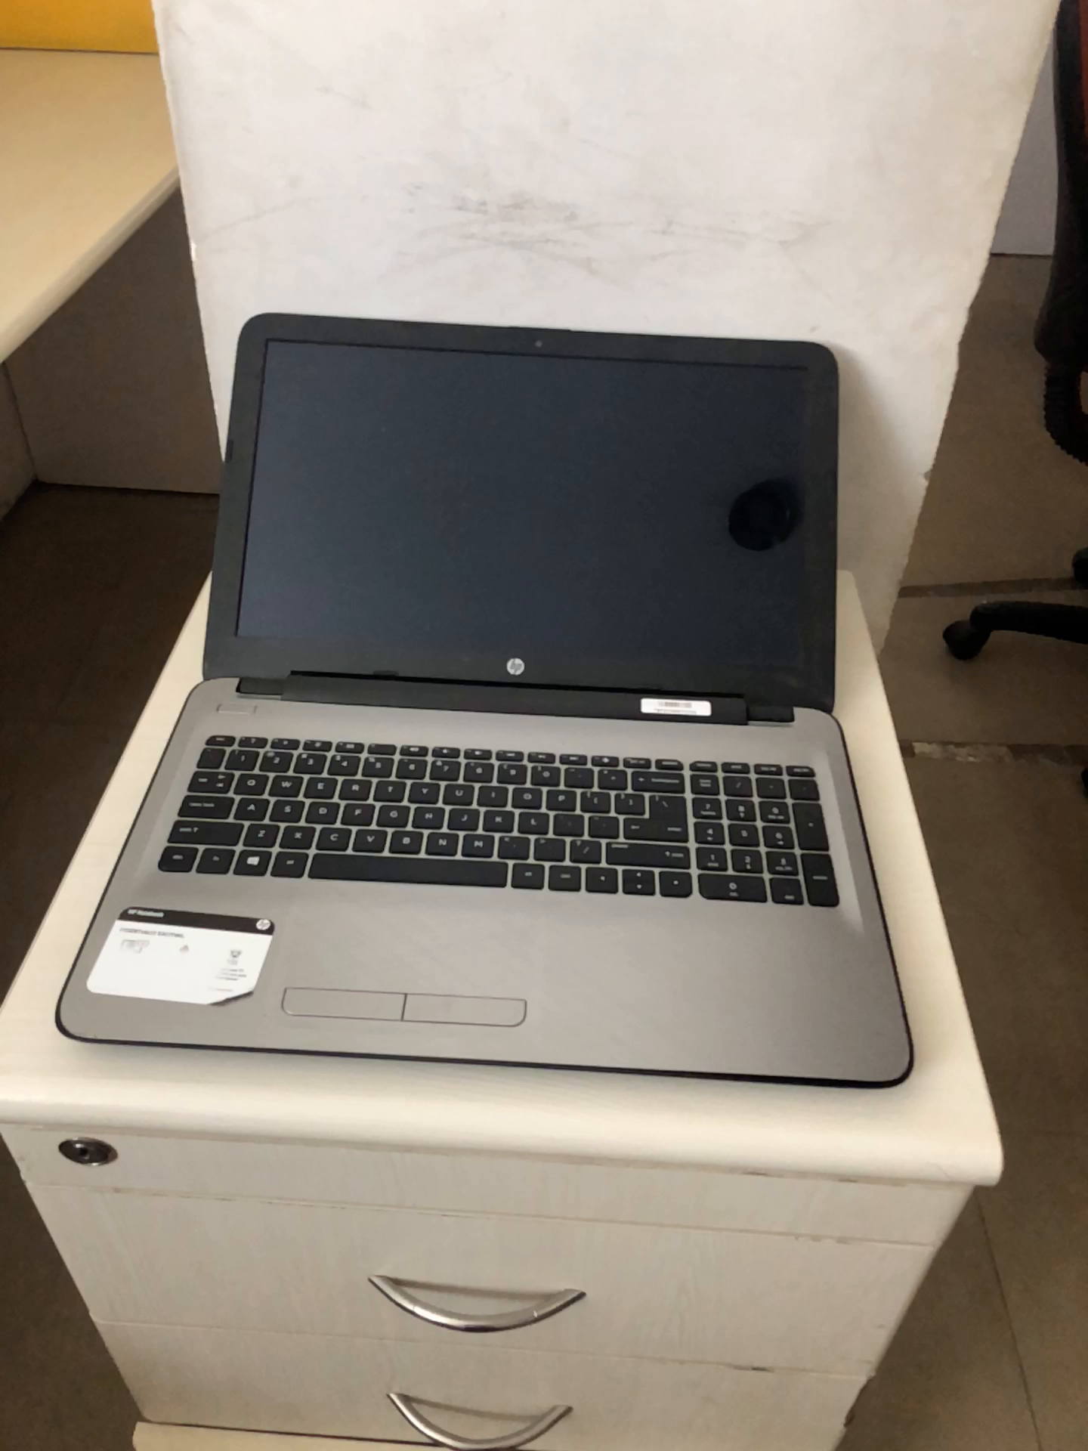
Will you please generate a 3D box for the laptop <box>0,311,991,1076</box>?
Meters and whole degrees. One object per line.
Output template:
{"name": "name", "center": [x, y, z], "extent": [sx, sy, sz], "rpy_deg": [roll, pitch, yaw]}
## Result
{"name": "laptop", "center": [-0.015, -0.054, 0.625], "extent": [0.361, 0.136, 0.428], "rpy_deg": [3, 42, 1]}
